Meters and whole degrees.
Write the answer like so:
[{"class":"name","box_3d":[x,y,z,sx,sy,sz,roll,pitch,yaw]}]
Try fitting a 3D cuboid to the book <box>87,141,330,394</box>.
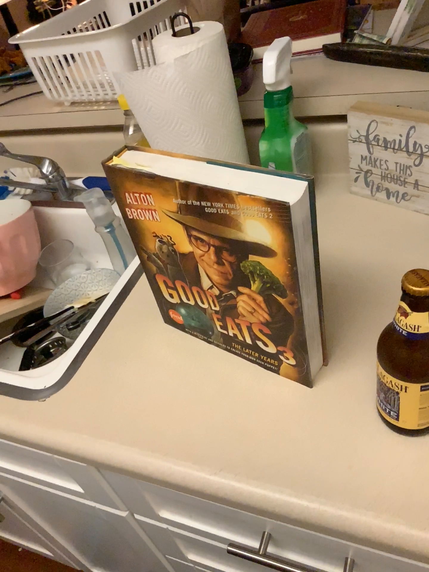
[{"class":"book","box_3d":[0.000,-0.021,0.528,0.240,0.250,0.050,19,50,34]}]
